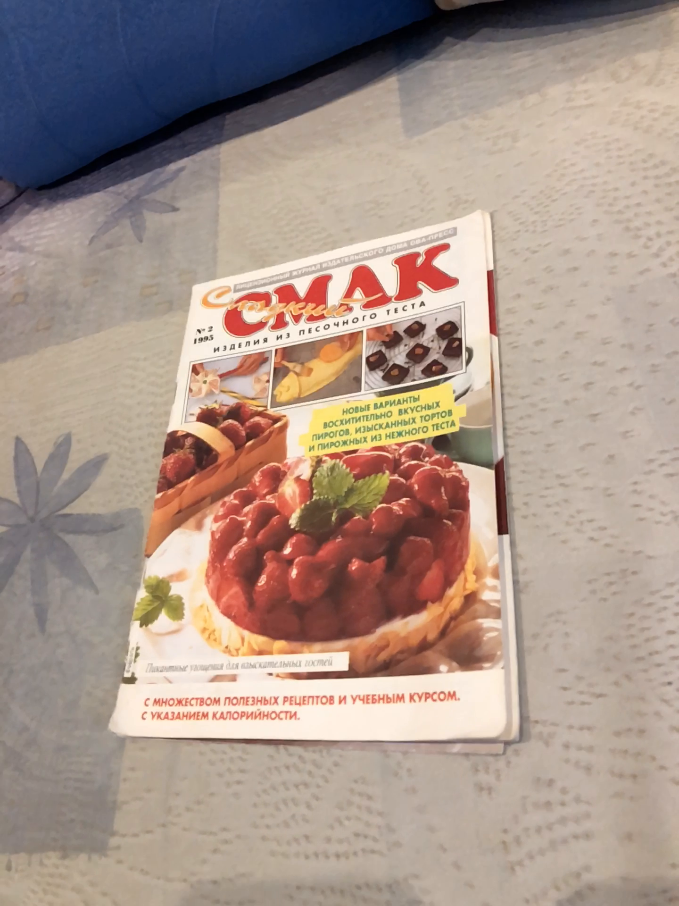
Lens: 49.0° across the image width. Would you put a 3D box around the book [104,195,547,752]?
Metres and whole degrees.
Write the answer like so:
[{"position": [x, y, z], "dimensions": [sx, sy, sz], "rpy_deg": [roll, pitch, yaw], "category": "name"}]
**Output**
[{"position": [-0.007, 0.004, 0.337], "dimensions": [0.177, 0.020, 0.241], "rpy_deg": [-9, 61, 23], "category": "book"}]
